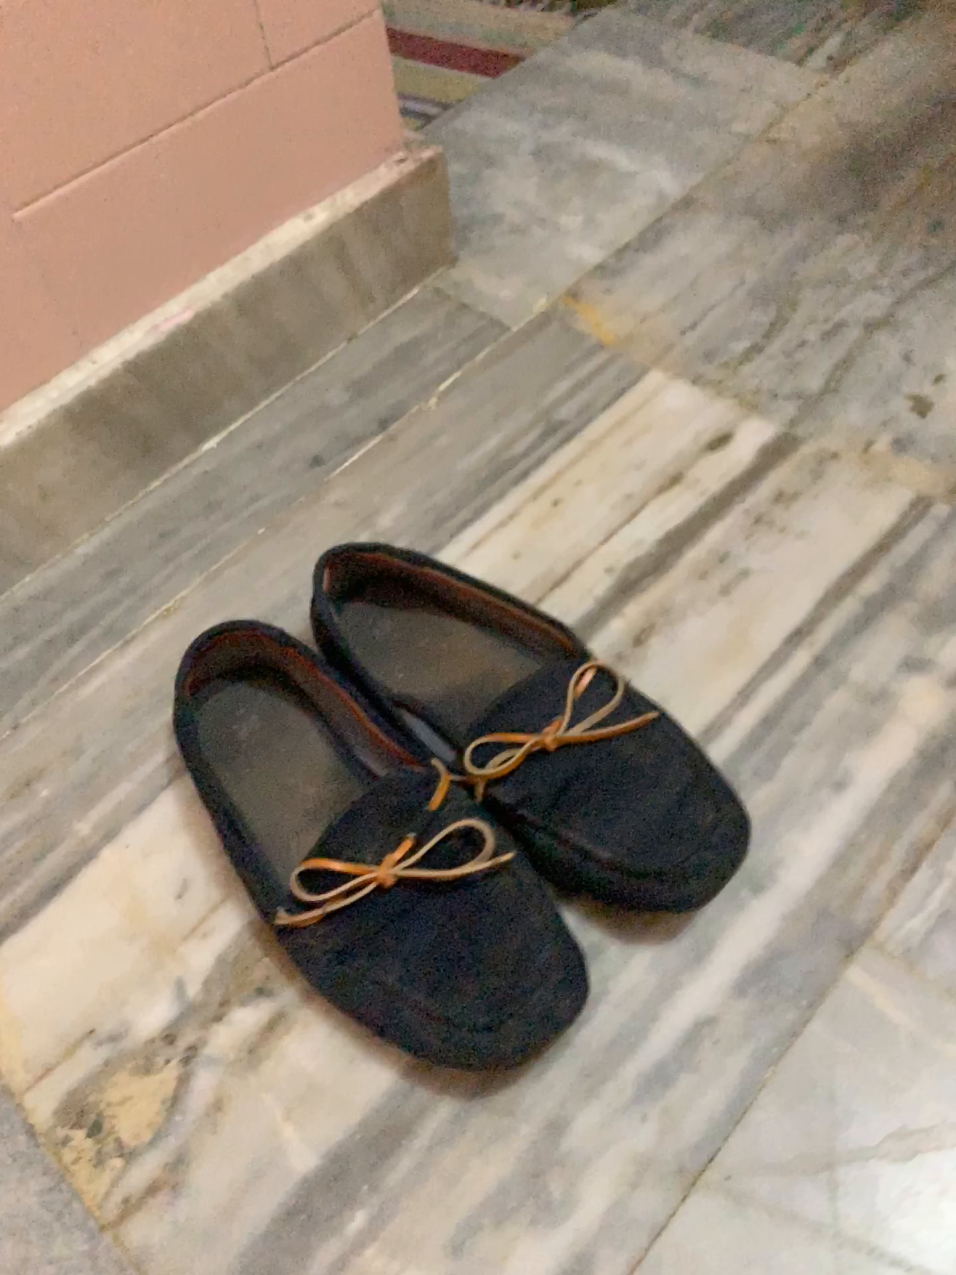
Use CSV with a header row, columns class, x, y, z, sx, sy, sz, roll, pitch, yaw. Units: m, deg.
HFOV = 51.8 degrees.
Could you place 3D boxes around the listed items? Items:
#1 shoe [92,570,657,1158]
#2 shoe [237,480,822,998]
class,x,y,z,sx,sy,sz,roll,pitch,yaw
shoe,-0.059,0.095,0.493,0.120,0.070,0.281,-39,58,-20
shoe,0.016,0.038,0.539,0.301,0.070,0.120,35,65,28
